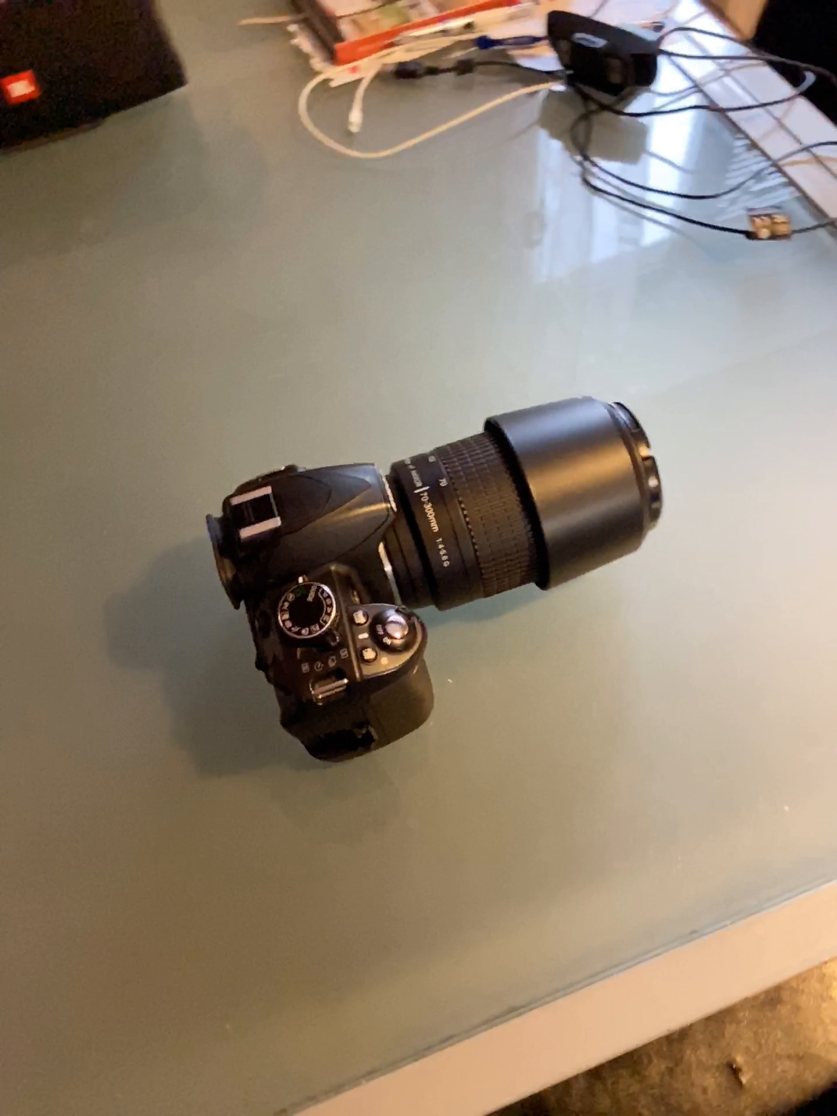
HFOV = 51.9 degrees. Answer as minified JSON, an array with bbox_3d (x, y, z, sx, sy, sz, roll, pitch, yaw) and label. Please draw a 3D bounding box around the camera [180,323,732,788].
[{"bbox_3d":[0.012,-0.002,0.382,0.188,0.094,0.124,-19,59,-6],"label":"camera"}]
